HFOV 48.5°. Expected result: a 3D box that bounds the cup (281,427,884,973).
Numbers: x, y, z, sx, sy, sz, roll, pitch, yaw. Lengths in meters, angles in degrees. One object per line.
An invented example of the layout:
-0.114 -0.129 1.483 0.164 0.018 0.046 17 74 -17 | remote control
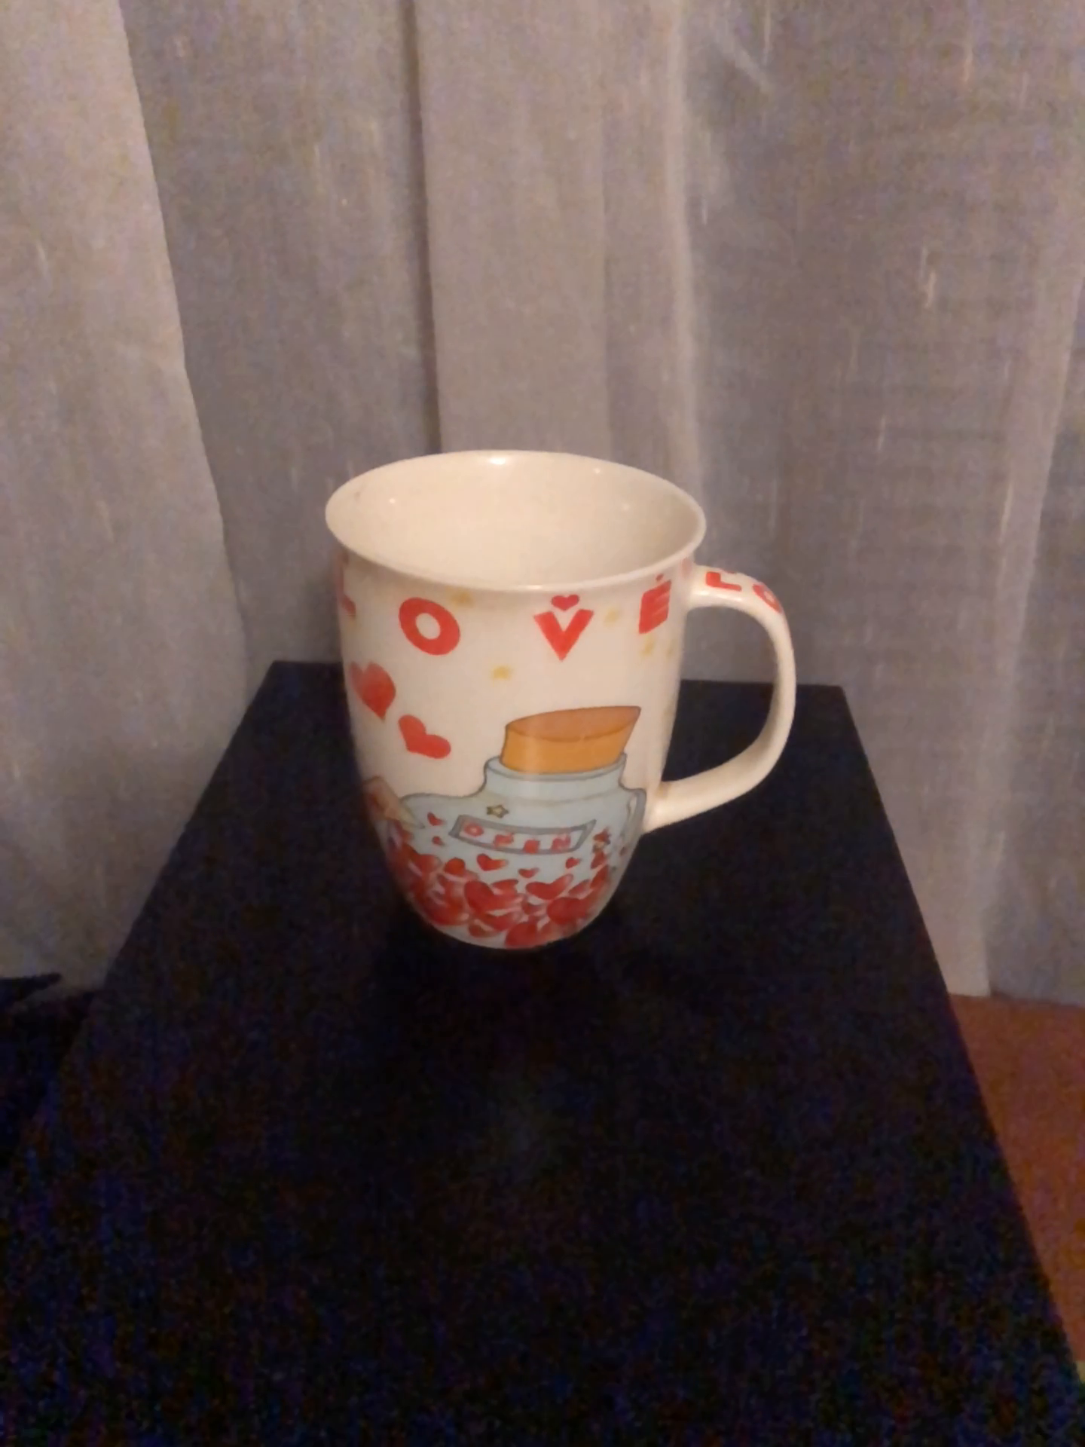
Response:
0.009 -0.008 0.280 0.111 0.098 0.079 2 30 2 | cup
